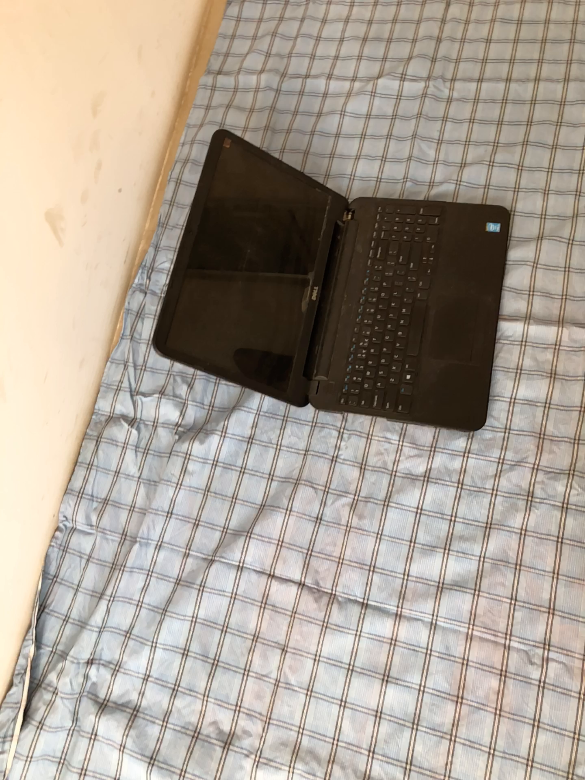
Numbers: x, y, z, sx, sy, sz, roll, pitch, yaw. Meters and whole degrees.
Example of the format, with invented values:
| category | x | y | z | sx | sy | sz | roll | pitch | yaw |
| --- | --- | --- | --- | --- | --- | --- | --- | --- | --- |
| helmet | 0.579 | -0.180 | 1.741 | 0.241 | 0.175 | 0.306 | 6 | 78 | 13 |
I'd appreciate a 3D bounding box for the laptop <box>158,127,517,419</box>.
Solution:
| category | x | y | z | sx | sy | sz | roll | pitch | yaw |
| --- | --- | --- | --- | --- | --- | --- | --- | --- | --- |
| laptop | 0.076 | -0.173 | 0.914 | 0.413 | 0.164 | 0.356 | 7 | 70 | 17 |
